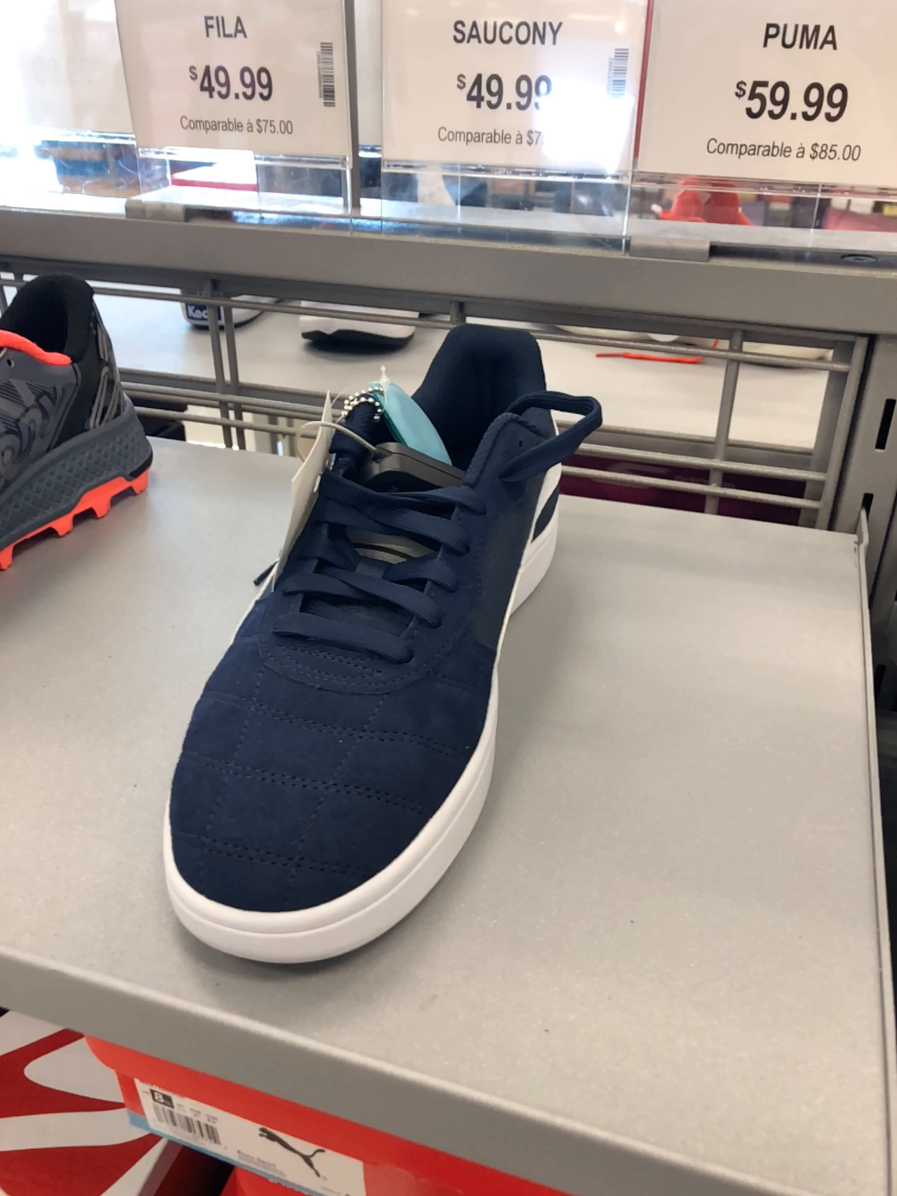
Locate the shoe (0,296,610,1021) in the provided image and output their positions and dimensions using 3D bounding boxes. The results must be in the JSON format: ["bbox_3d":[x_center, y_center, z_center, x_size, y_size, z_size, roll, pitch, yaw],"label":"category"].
[{"bbox_3d":[-0.028,-0.010,0.340,0.119,0.119,0.242,9,31,14],"label":"shoe"}]
